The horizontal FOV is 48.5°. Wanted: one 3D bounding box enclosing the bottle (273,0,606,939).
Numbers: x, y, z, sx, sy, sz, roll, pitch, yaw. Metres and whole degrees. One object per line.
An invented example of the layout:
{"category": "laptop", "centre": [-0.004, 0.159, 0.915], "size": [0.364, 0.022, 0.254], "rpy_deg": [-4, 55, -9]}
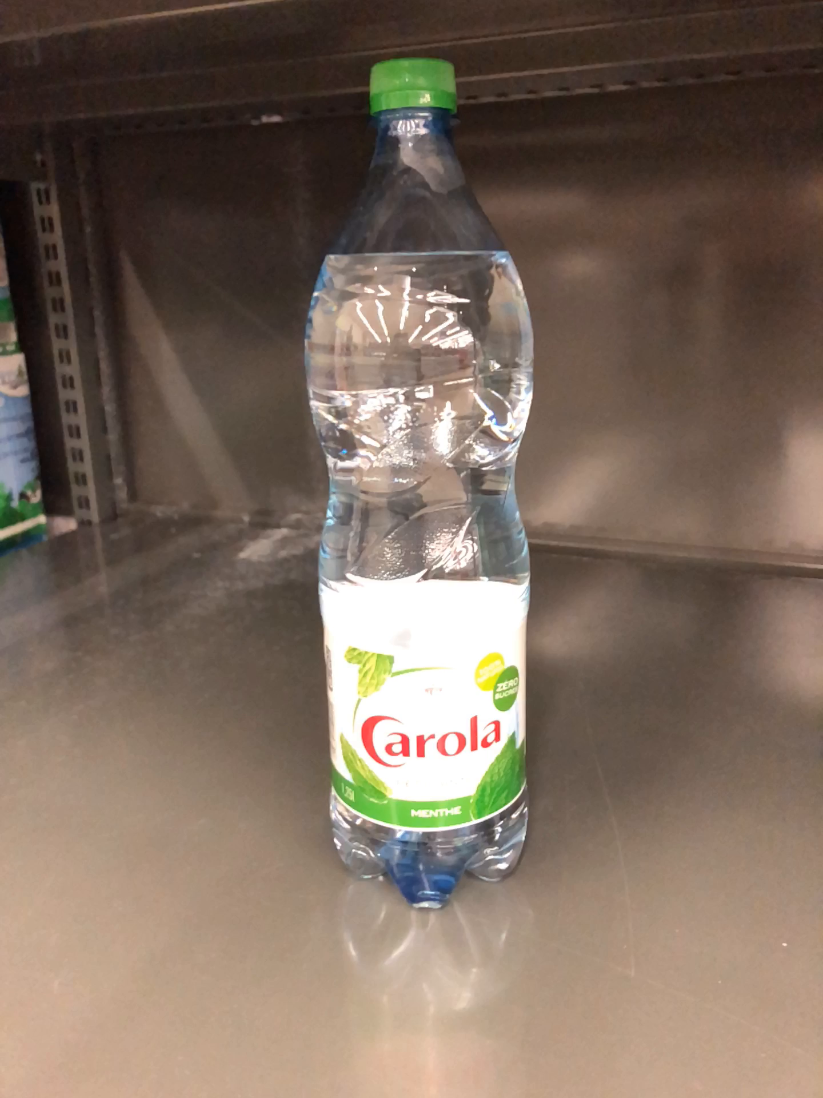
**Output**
{"category": "bottle", "centre": [0.012, -0.021, 0.370], "size": [0.100, 0.339, 0.100], "rpy_deg": [-1, 16, 0]}
